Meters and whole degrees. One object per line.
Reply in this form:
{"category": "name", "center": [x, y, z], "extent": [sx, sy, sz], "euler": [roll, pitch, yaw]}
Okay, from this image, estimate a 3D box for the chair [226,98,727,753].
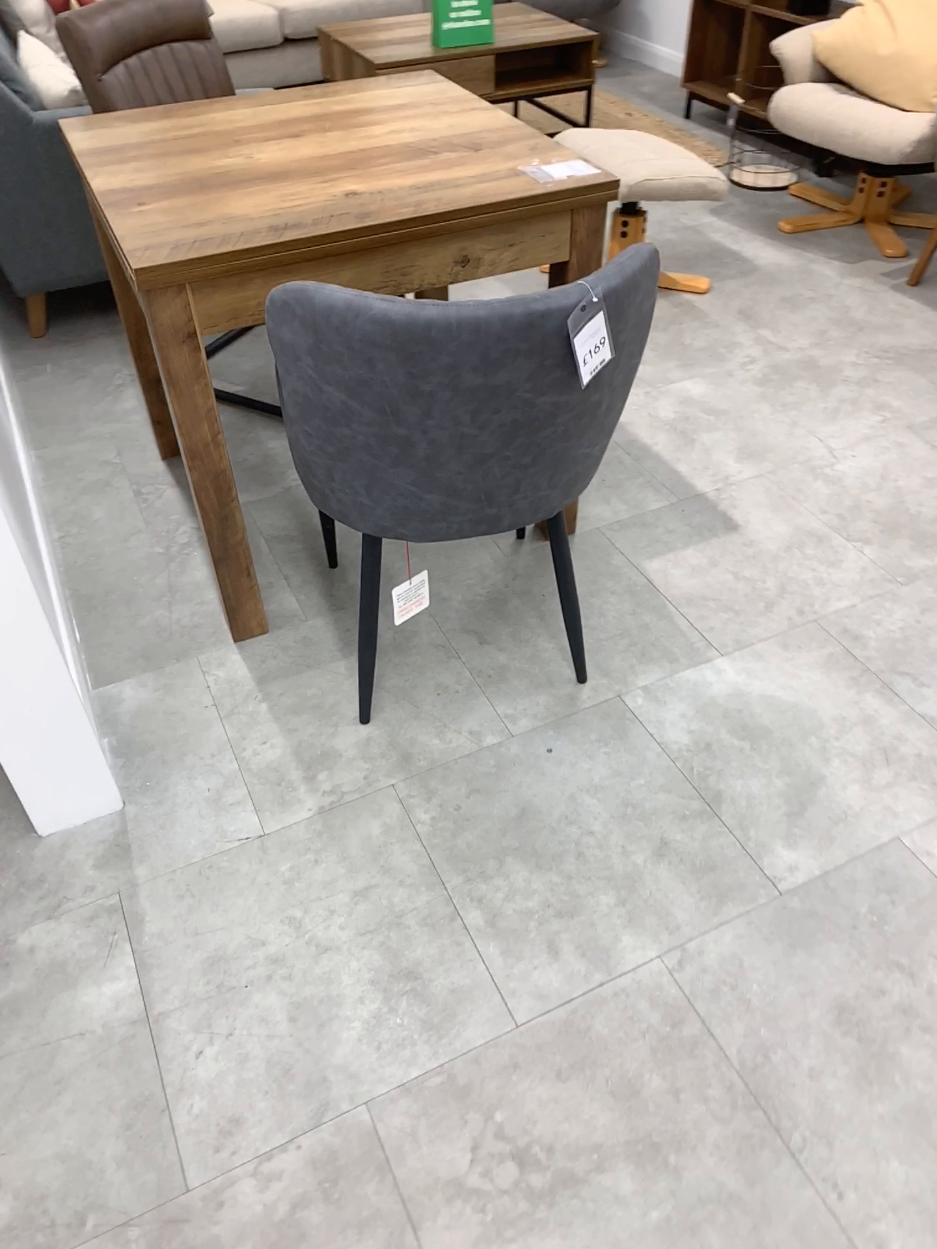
{"category": "chair", "center": [-0.019, -0.312, 1.517], "extent": [0.528, 0.775, 0.555], "euler": [-12, 44, -11]}
